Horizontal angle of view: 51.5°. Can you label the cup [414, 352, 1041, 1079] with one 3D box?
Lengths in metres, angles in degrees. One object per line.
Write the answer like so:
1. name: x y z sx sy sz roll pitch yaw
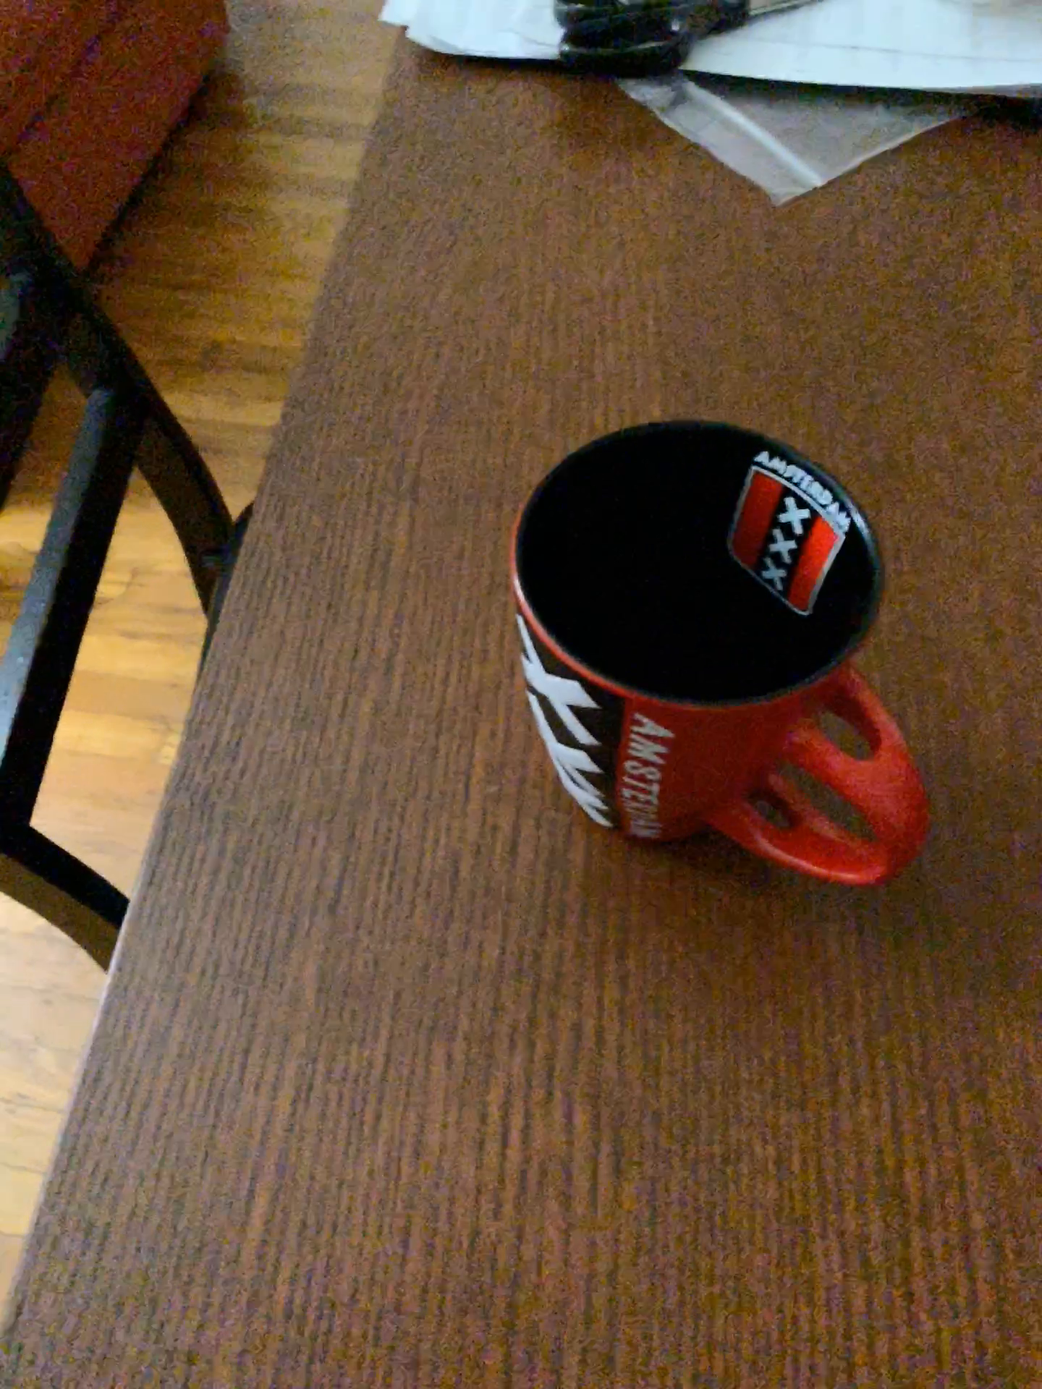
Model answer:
1. cup: 0.052 0.005 0.277 0.090 0.100 0.130 -35 64 -19
